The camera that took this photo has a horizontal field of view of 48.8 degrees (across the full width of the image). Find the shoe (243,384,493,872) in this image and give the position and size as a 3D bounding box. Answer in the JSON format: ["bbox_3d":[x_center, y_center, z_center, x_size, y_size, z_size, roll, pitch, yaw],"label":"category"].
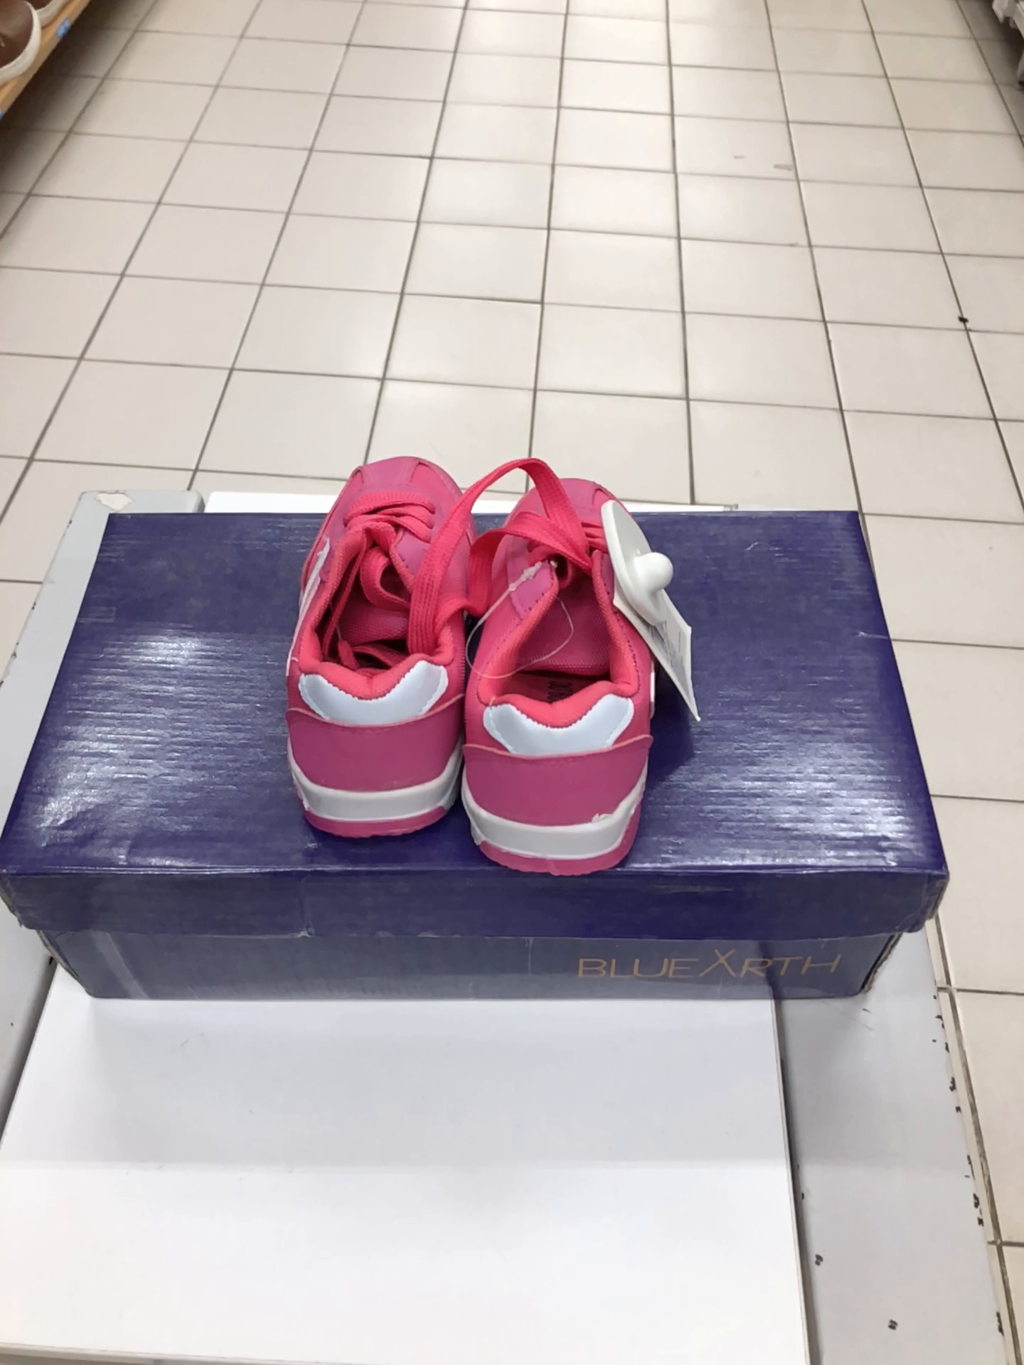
[{"bbox_3d":[-0.045,-0.024,0.422,0.070,0.089,0.161,2,51,-1],"label":"shoe"}]

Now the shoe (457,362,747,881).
[{"bbox_3d":[0.025,-0.025,0.396,0.080,0.089,0.161,2,51,-1],"label":"shoe"}]
